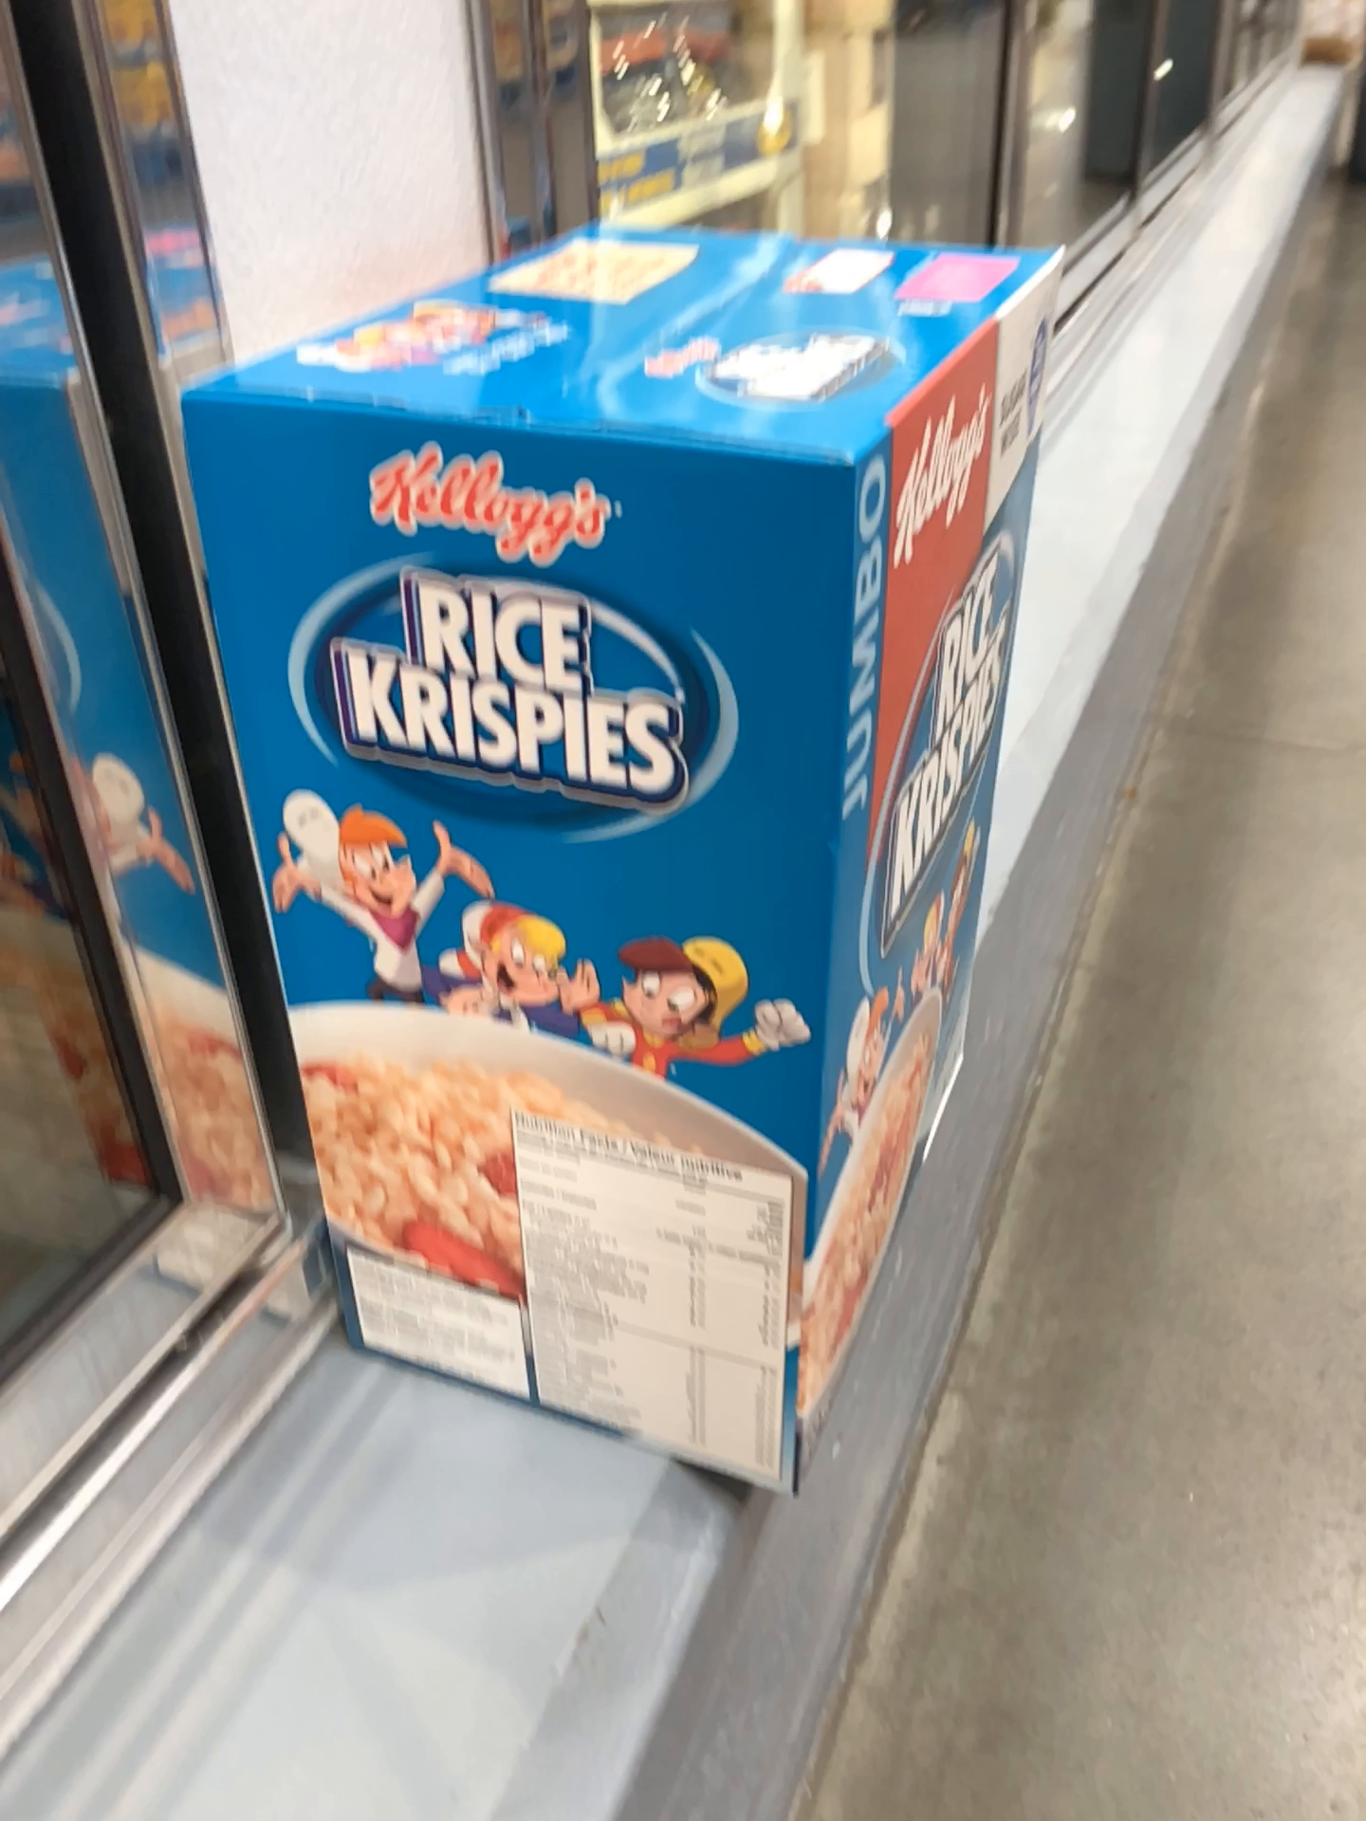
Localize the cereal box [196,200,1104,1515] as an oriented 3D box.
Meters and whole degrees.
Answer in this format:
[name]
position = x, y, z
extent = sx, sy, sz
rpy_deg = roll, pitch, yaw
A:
[cereal box]
position = 0.011, -0.032, 0.483
extent = 0.160, 0.319, 0.241
rpy_deg = 12, 34, 17
